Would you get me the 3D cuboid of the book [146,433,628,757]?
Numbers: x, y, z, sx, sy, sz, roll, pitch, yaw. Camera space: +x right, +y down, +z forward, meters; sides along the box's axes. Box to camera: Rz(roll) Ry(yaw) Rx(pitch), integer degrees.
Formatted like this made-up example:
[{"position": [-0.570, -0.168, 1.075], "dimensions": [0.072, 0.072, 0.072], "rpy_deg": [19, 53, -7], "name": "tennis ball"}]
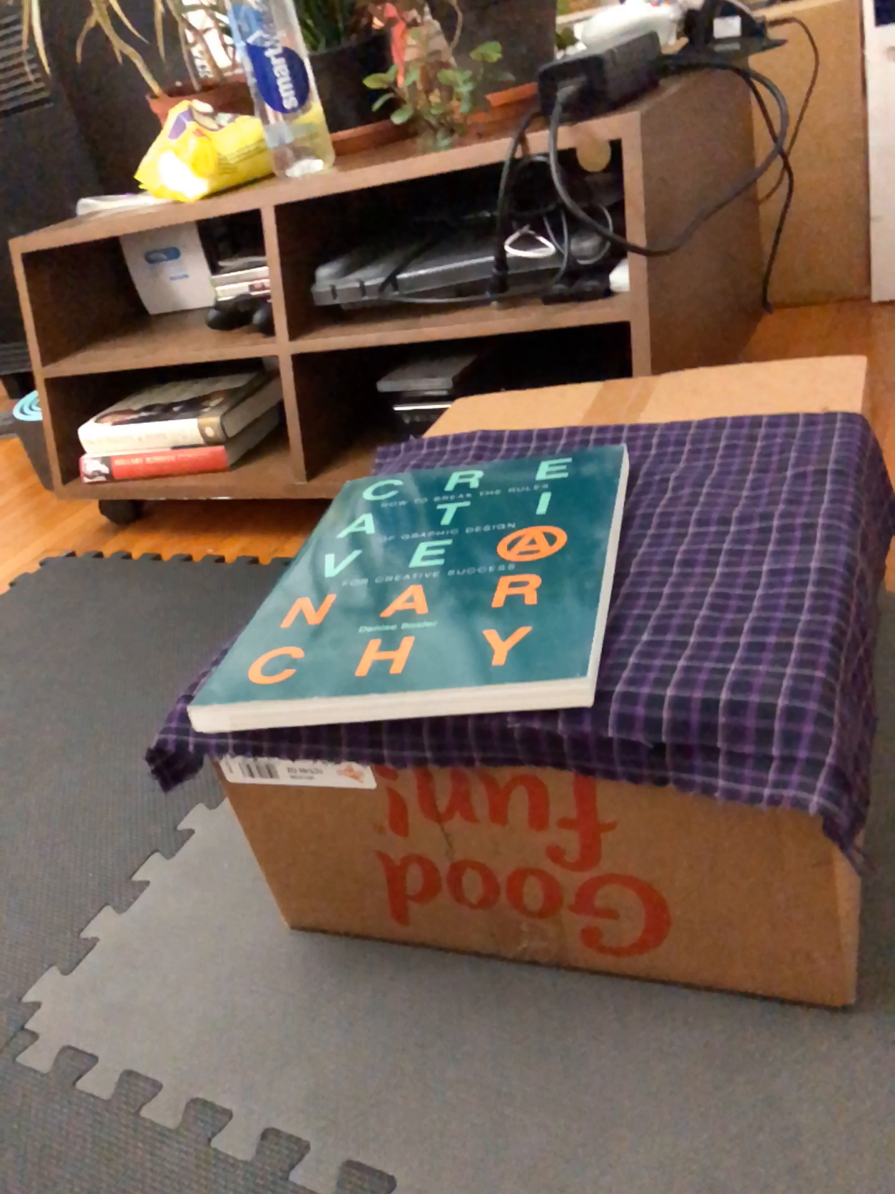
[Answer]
[{"position": [-0.012, -0.016, 0.586], "dimensions": [0.220, 0.020, 0.302], "rpy_deg": [-6, 30, 17], "name": "book"}]
